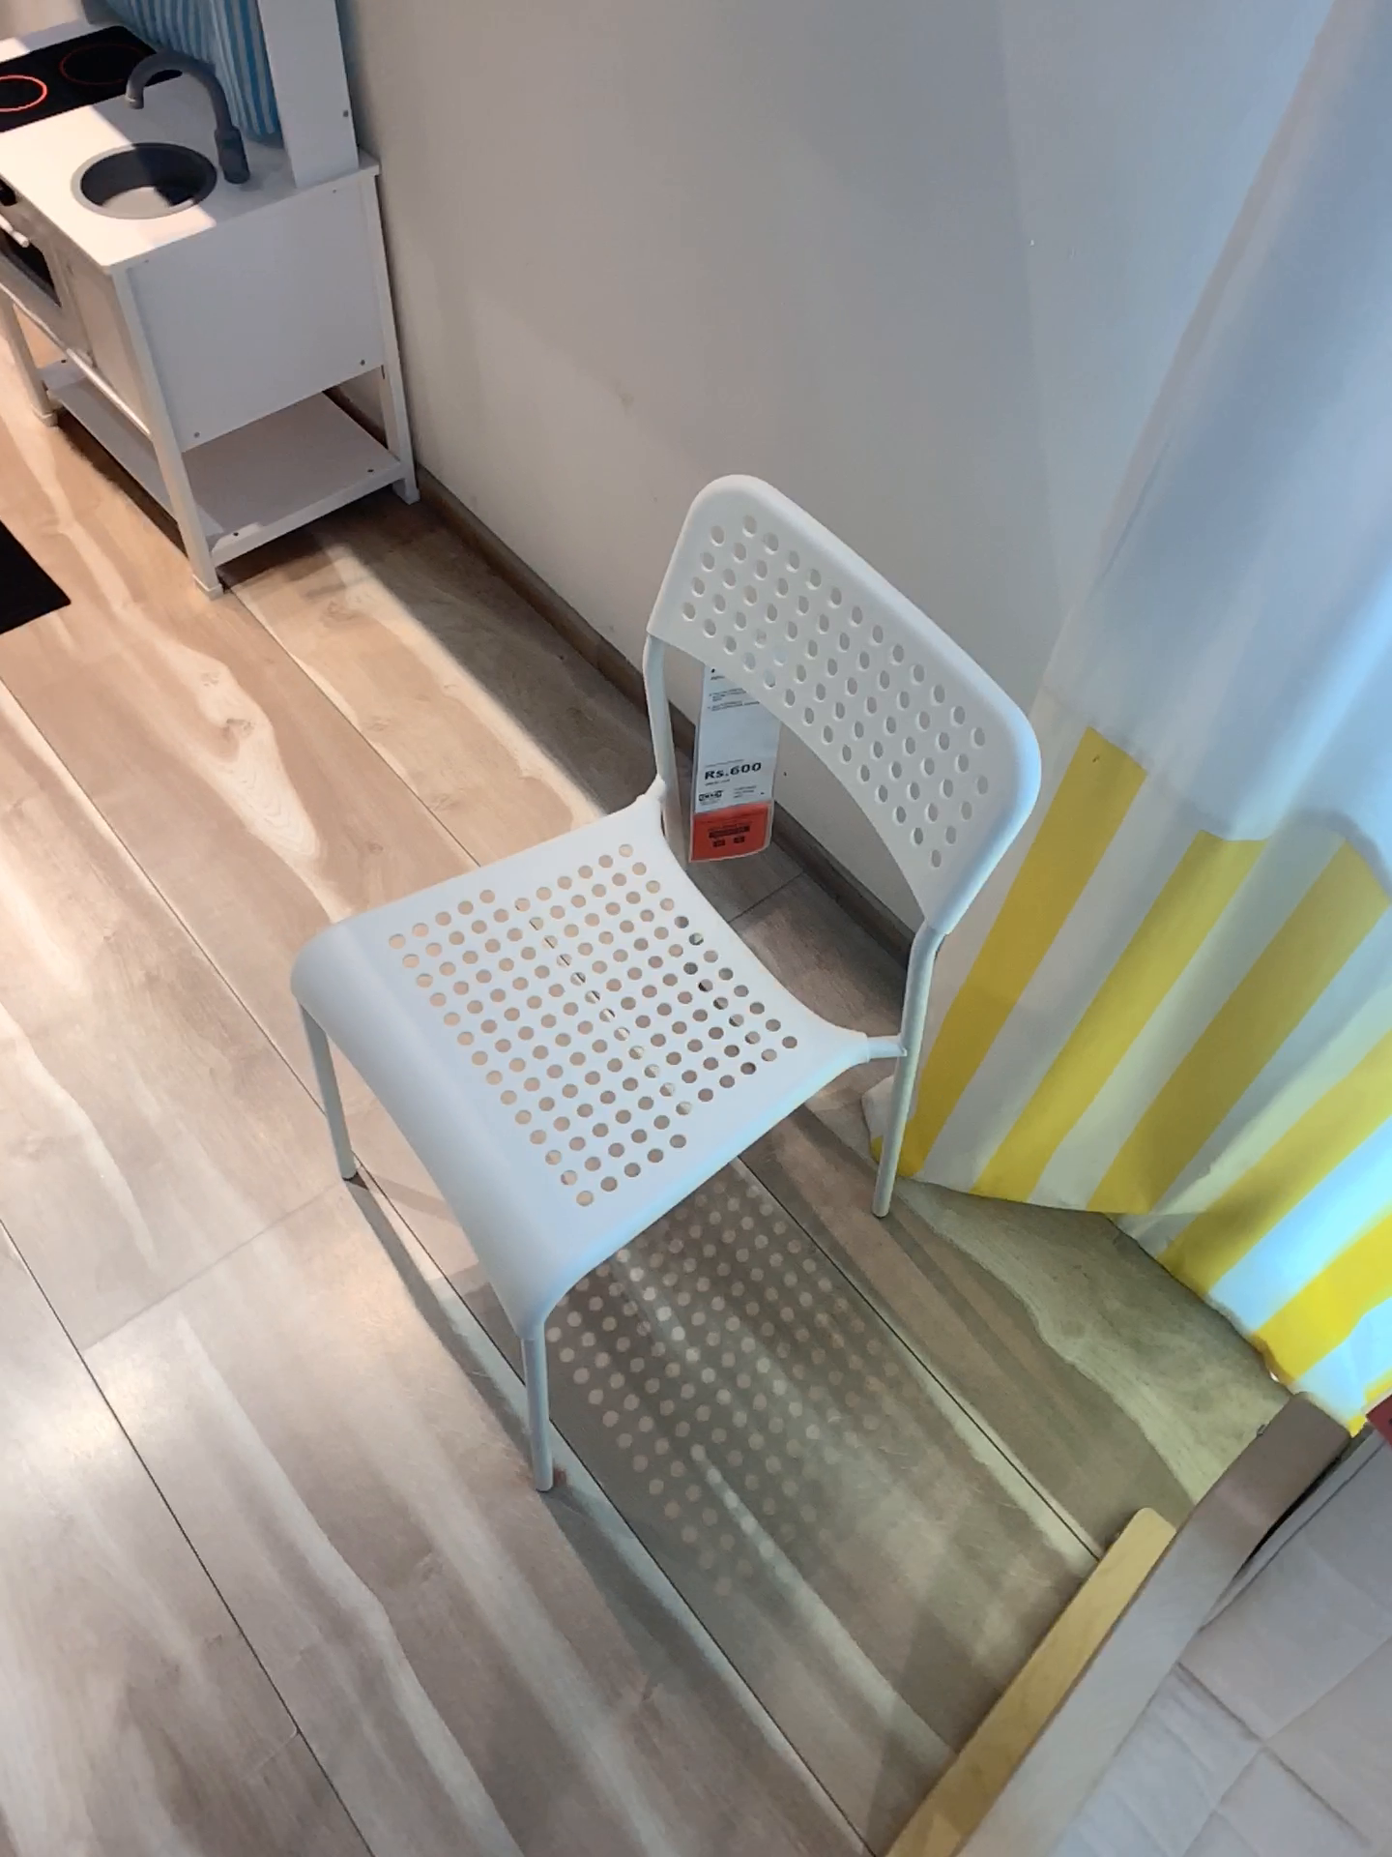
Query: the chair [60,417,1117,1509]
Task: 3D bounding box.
[{"bbox_3d":[-0.082,0.059,1.193,0.530,0.658,0.441,-31,62,-22],"label":"chair"}]
